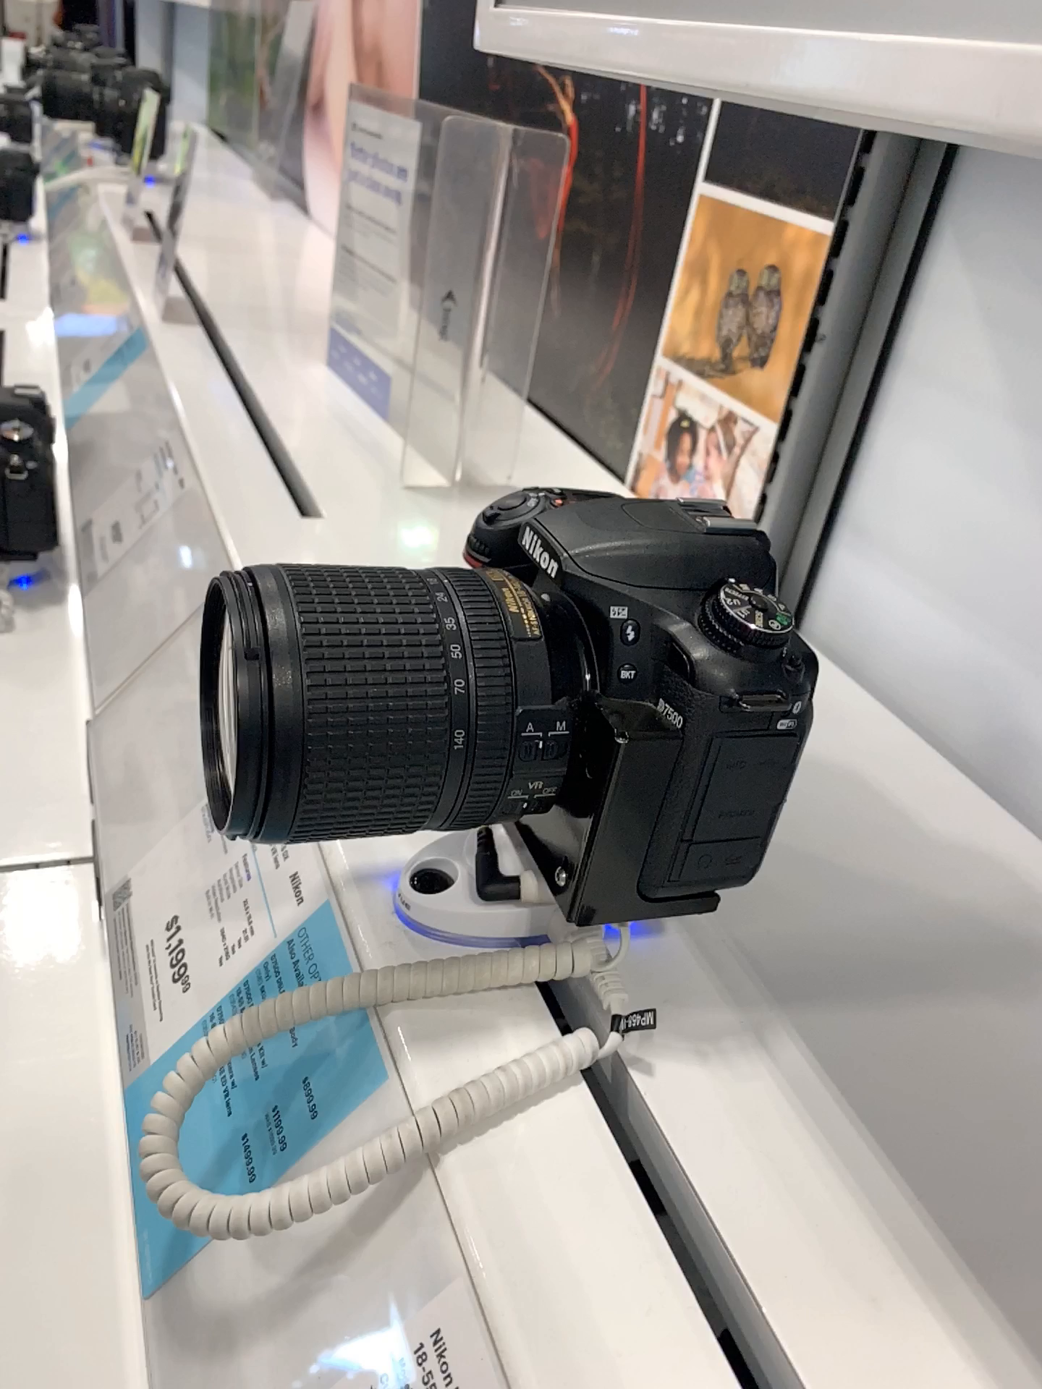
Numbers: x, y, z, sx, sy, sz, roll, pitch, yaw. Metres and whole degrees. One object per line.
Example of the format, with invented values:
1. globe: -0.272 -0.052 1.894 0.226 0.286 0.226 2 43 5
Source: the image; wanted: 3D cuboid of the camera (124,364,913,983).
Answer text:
1. camera: -0.013 -0.013 0.314 0.172 0.107 0.131 0 30 -28
